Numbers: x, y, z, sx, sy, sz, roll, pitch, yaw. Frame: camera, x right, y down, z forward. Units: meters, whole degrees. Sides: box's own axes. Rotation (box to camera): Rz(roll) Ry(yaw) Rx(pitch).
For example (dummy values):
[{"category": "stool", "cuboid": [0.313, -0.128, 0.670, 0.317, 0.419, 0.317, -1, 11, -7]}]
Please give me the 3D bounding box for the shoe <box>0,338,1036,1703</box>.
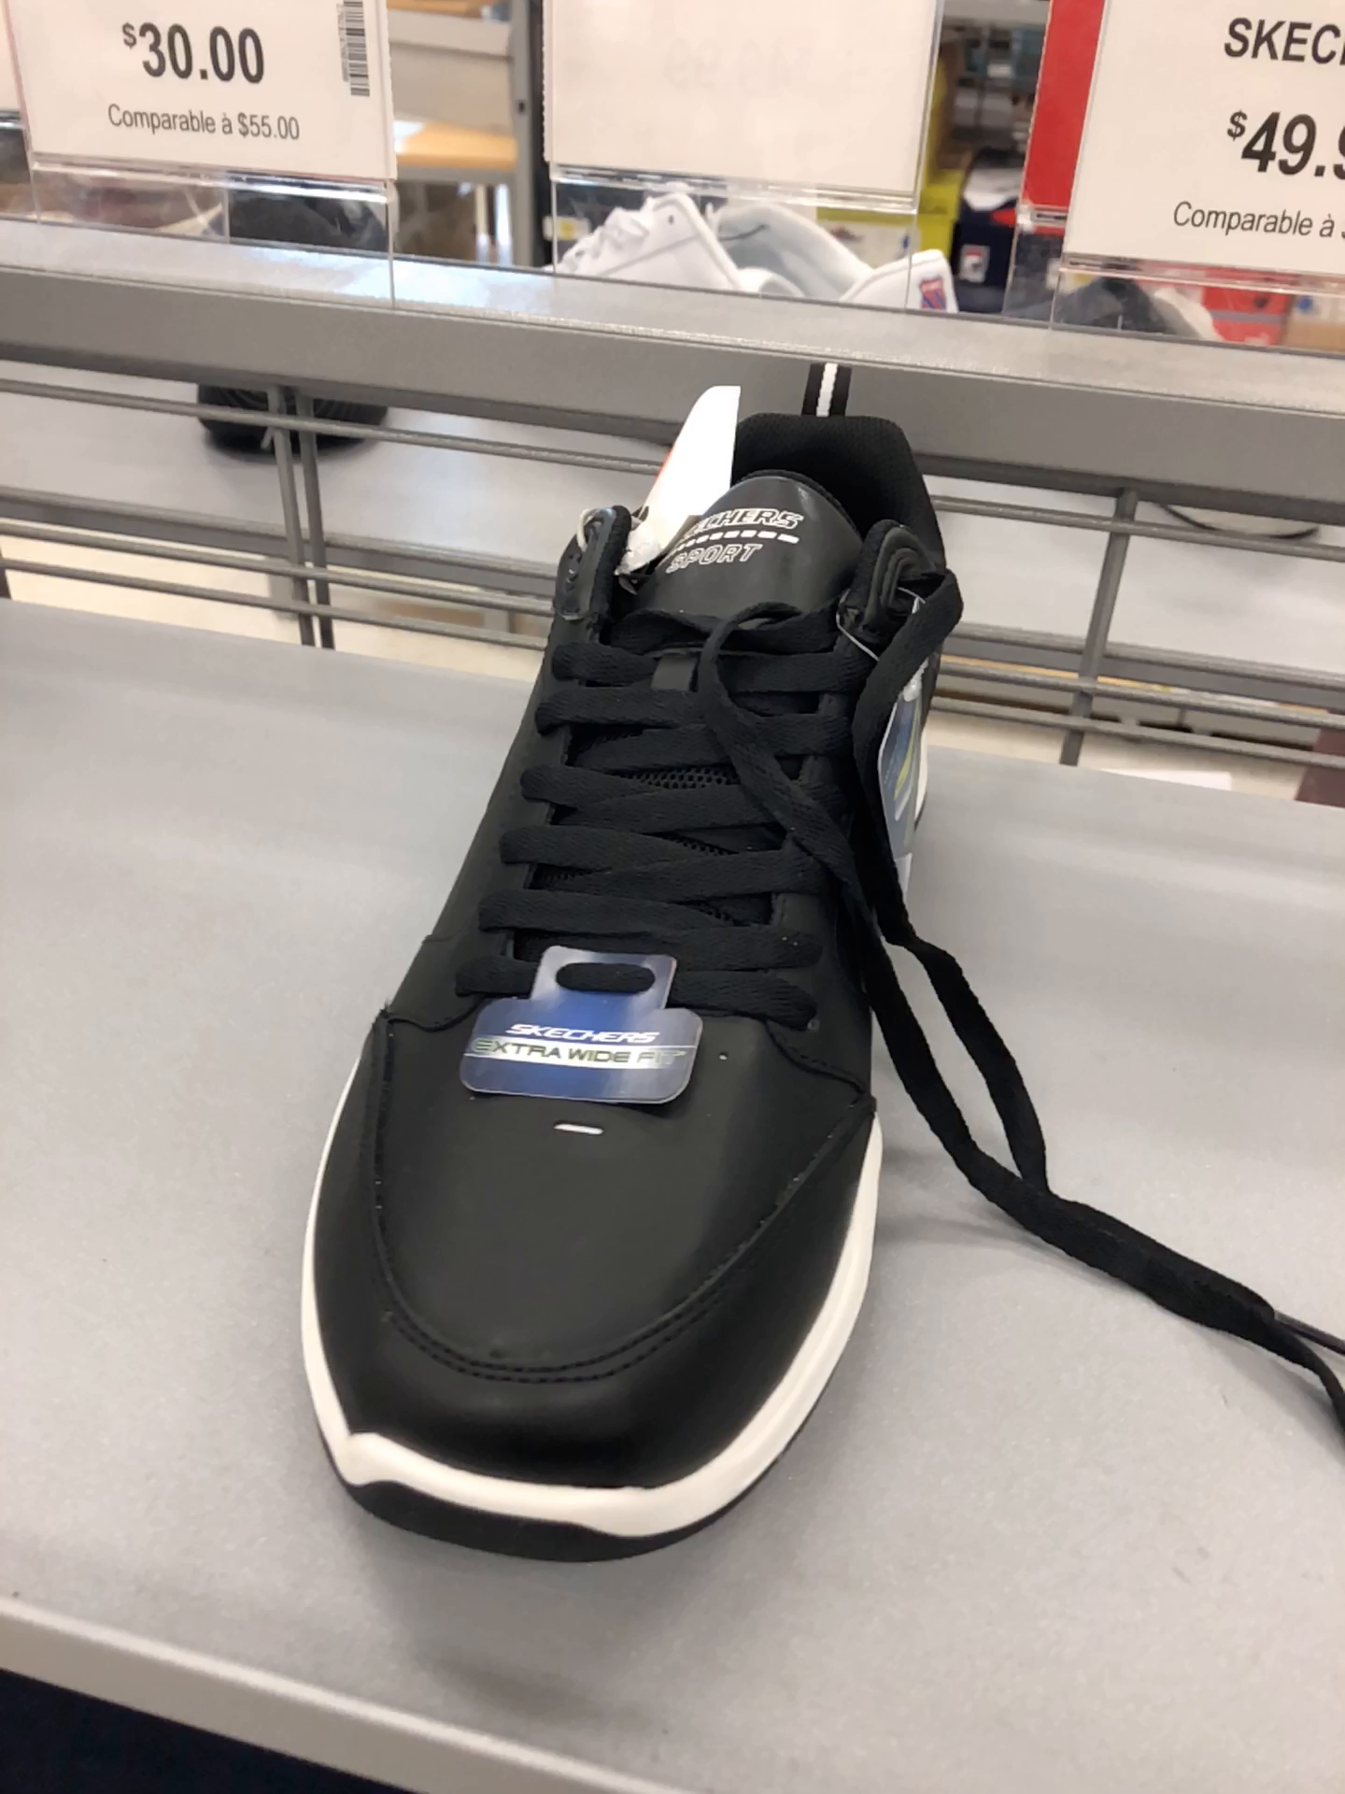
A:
[{"category": "shoe", "cuboid": [0.002, -0.024, 0.363, 0.130, 0.109, 0.353, 11, 37, 10]}]
